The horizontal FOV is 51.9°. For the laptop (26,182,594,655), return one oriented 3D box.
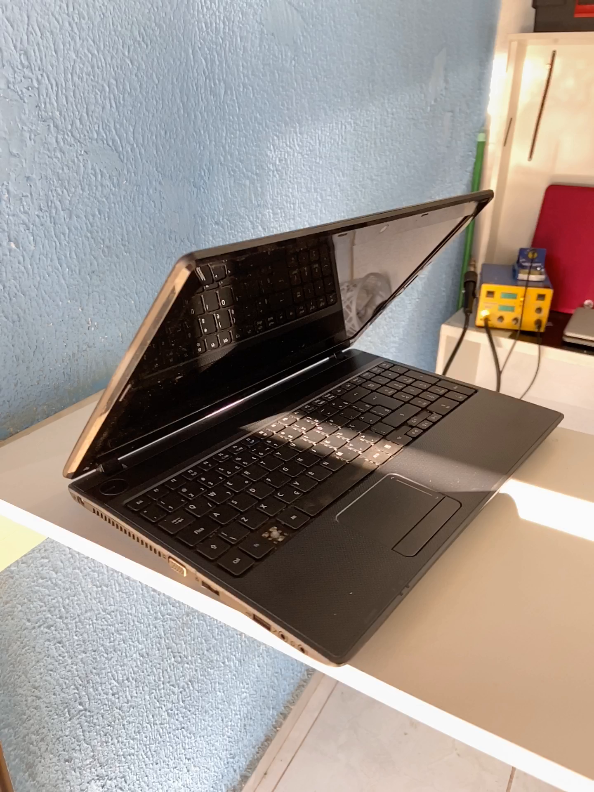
[{"bbox_3d":[0.045,-0.045,0.487,0.248,0.191,0.377,19,30,34],"label":"laptop"}]
